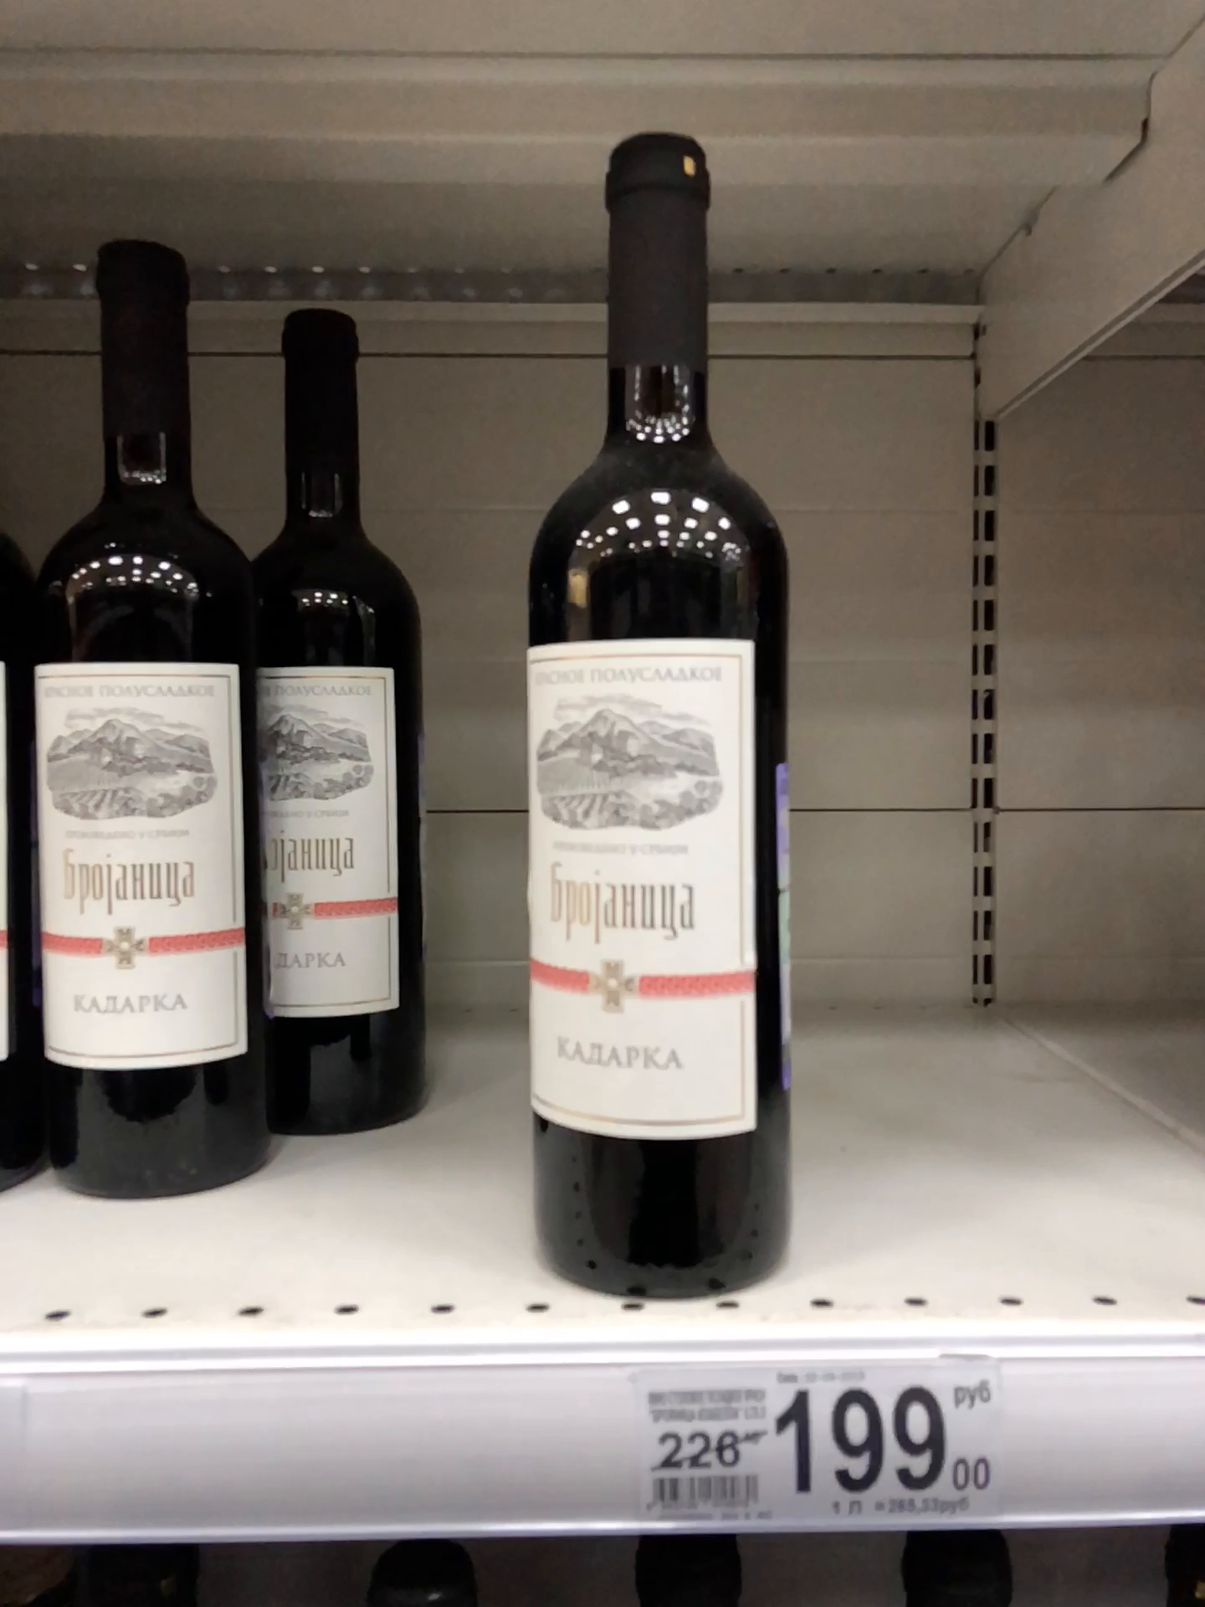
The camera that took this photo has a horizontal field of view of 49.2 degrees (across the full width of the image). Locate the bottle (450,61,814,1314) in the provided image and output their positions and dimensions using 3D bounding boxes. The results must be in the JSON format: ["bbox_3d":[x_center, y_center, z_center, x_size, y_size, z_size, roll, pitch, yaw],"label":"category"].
[{"bbox_3d":[0.012,-0.029,0.377,0.080,0.309,0.080,0,2,0],"label":"bottle"}]
